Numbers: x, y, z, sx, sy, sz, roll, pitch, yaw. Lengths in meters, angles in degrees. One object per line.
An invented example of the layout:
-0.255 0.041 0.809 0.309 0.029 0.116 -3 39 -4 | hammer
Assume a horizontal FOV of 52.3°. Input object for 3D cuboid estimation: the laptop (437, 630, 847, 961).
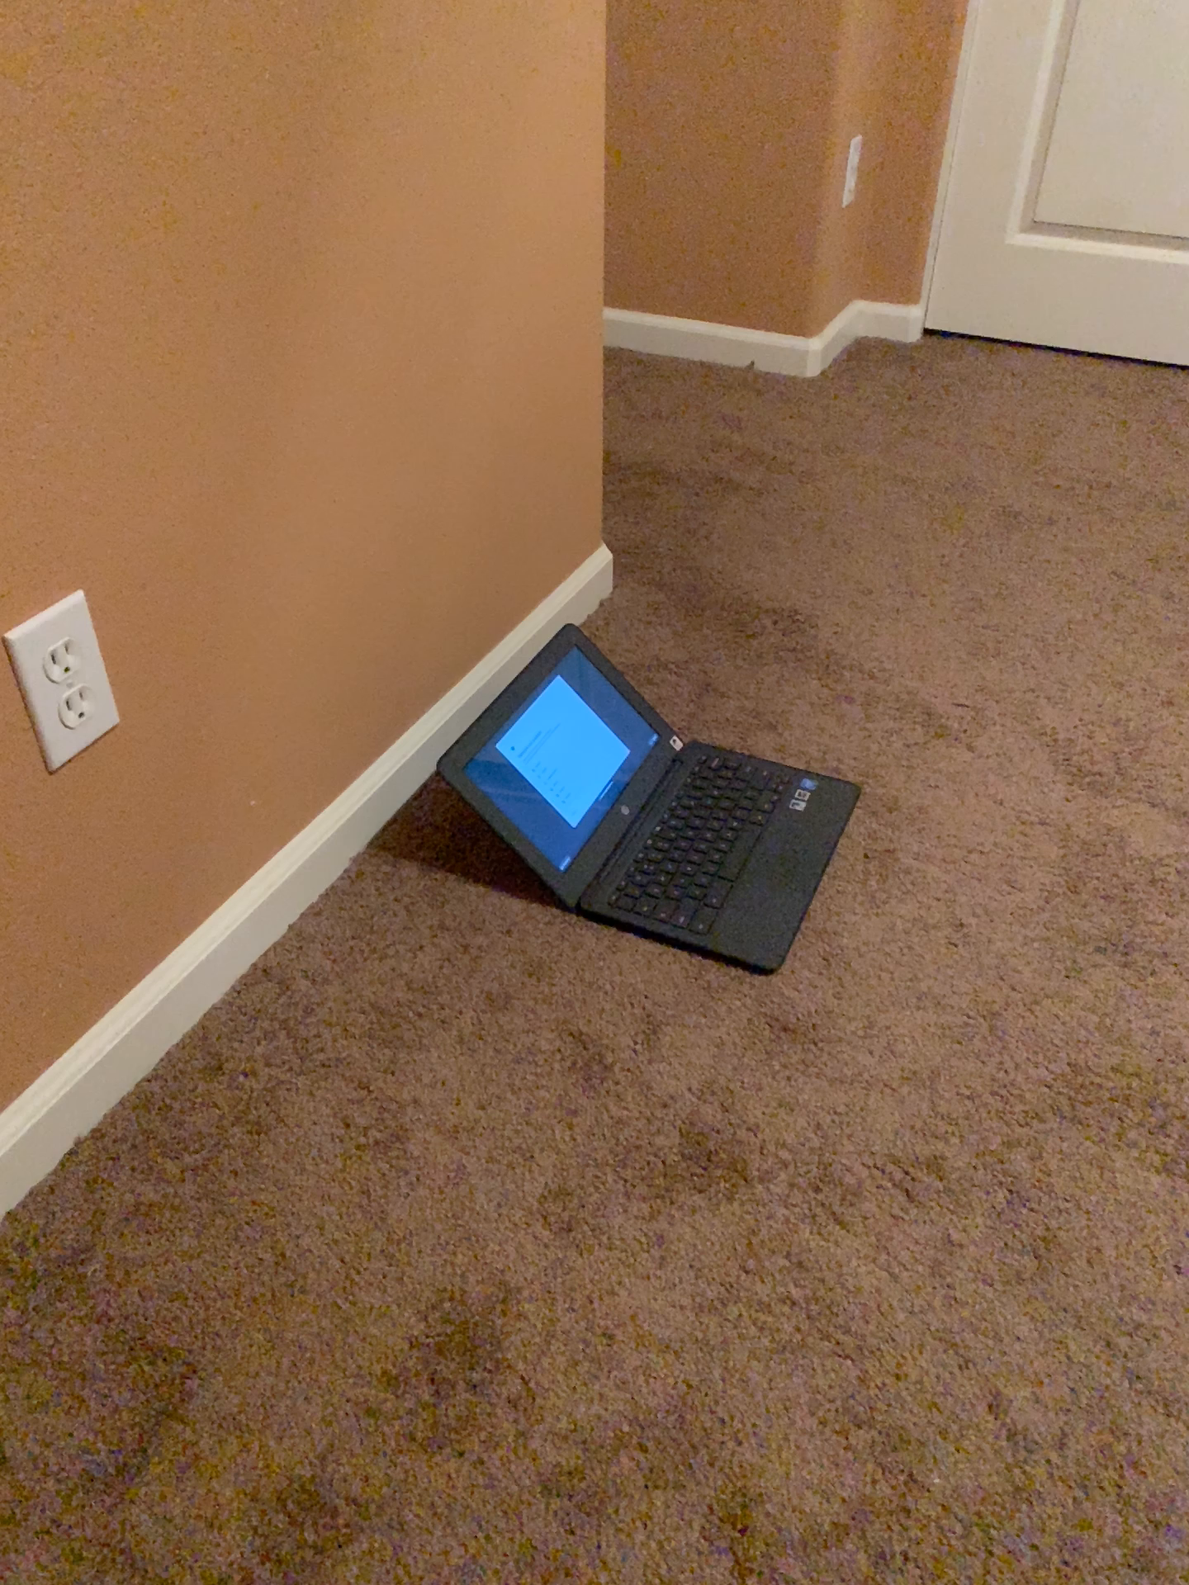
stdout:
0.056 -0.014 1.252 0.331 0.124 0.289 15 39 18 | laptop
